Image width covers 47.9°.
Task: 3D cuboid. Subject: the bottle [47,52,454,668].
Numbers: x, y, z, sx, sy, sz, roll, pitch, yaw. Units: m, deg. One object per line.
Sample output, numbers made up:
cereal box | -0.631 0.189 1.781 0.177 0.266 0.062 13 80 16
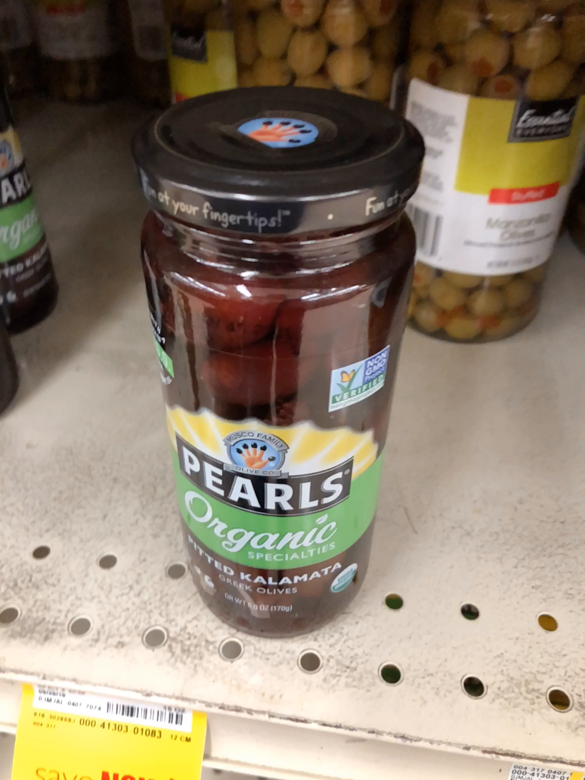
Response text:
bottle | -0.003 0.003 0.173 0.063 0.150 0.060 0 42 0
